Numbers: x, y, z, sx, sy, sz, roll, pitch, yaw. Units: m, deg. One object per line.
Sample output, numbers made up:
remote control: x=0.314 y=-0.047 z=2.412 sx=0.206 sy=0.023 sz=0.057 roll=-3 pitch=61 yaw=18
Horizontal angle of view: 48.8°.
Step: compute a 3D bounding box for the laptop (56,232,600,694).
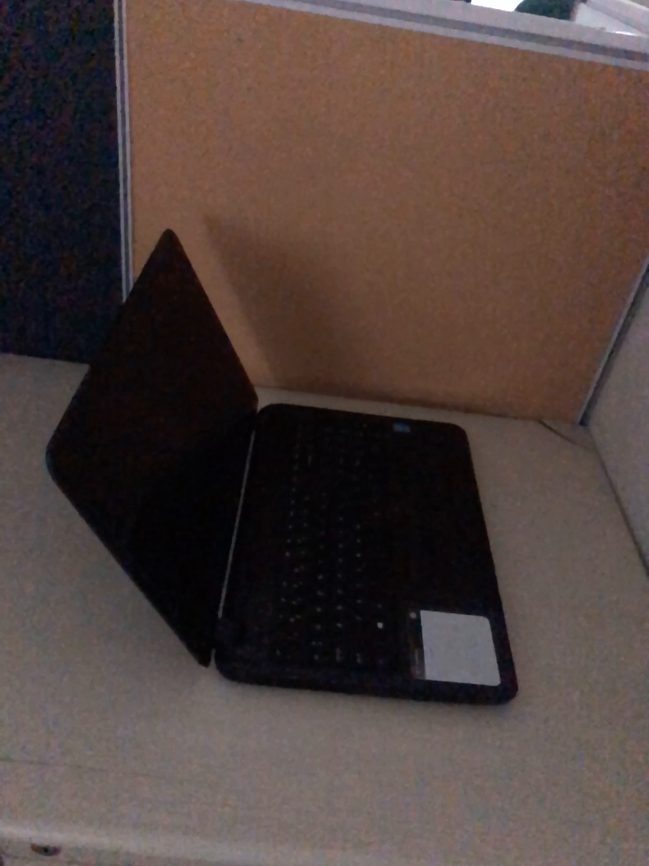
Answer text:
laptop: x=-0.003 y=0.004 z=0.659 sx=0.351 sy=0.205 sz=0.358 roll=6 pitch=38 yaw=-2
